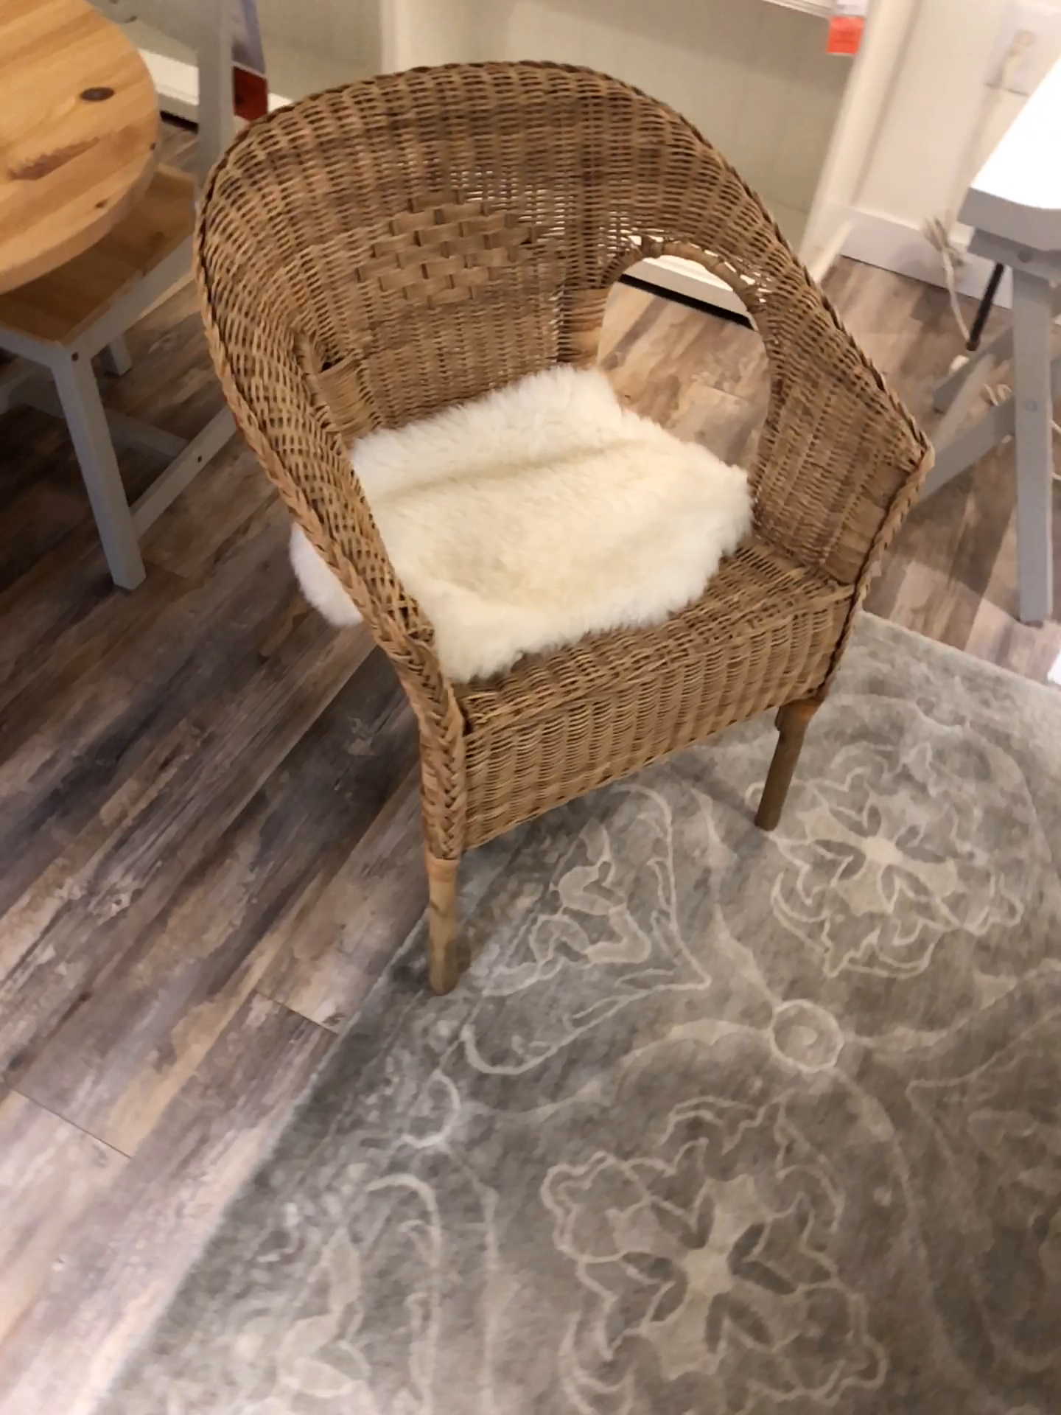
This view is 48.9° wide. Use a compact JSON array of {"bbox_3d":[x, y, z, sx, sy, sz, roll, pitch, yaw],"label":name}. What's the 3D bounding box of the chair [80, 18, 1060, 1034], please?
[{"bbox_3d":[0.003,-0.199,1.275,0.651,0.718,0.631,-21,56,-21],"label":"chair"}]
